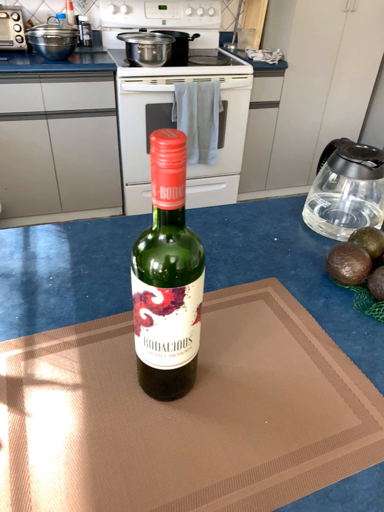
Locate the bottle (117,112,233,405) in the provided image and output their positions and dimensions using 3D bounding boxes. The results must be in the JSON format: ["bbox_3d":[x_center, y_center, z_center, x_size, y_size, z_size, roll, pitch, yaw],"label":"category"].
[{"bbox_3d":[-0.022,0.021,0.389,0.080,0.297,0.081,2,35,-1],"label":"bottle"}]
